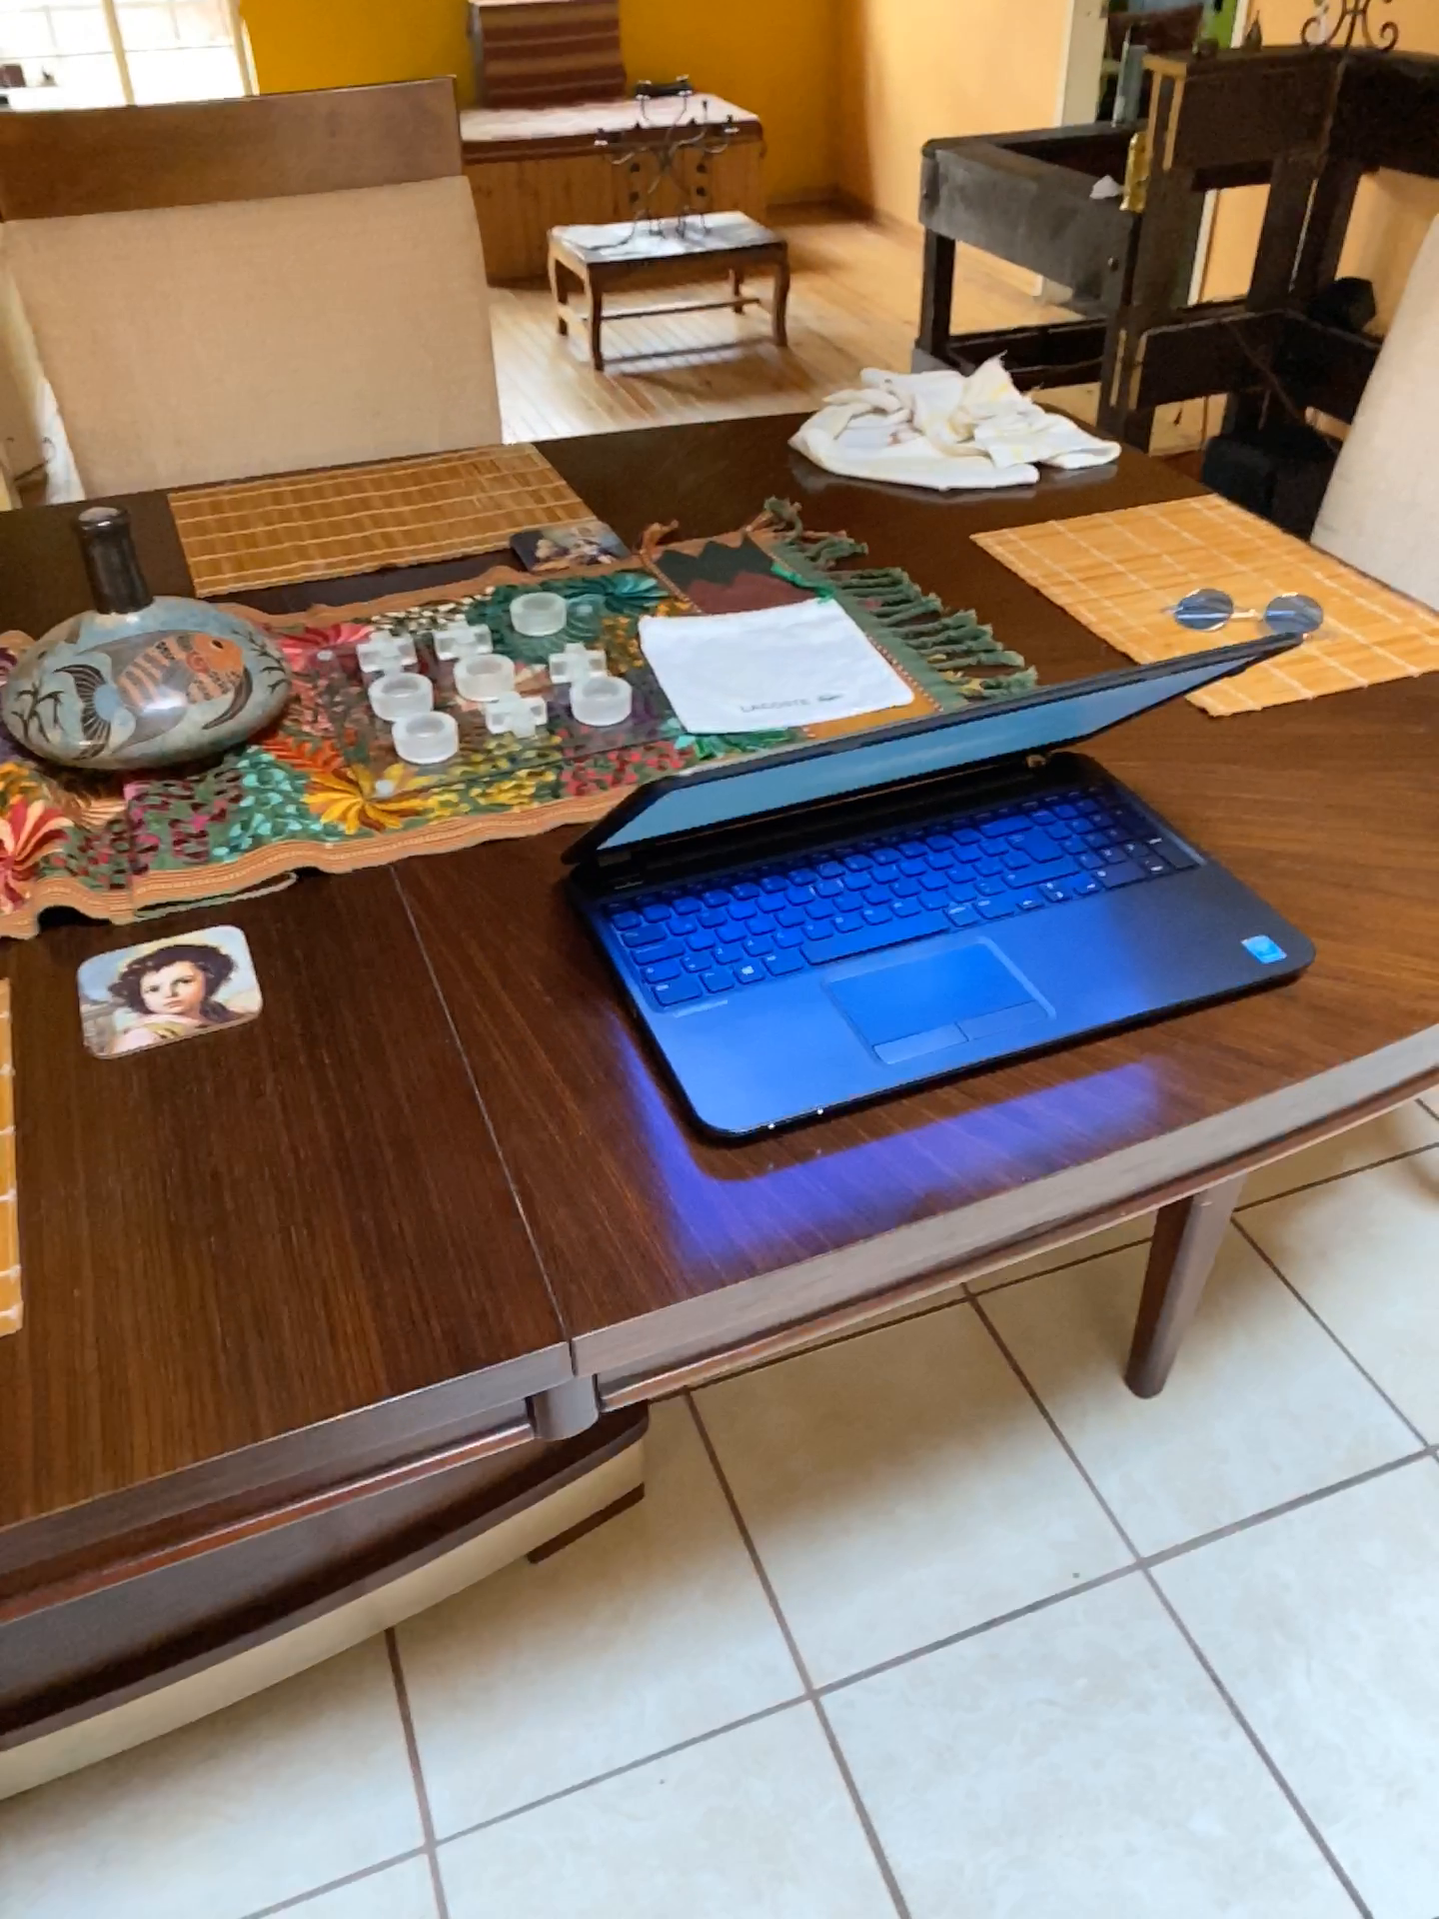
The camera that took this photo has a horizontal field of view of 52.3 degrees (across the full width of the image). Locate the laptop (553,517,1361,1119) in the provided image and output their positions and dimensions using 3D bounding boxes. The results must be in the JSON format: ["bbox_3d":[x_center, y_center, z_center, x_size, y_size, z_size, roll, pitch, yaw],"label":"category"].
[{"bbox_3d":[0.116,-0.100,0.823,0.356,0.158,0.249,-15,40,-17],"label":"laptop"}]
